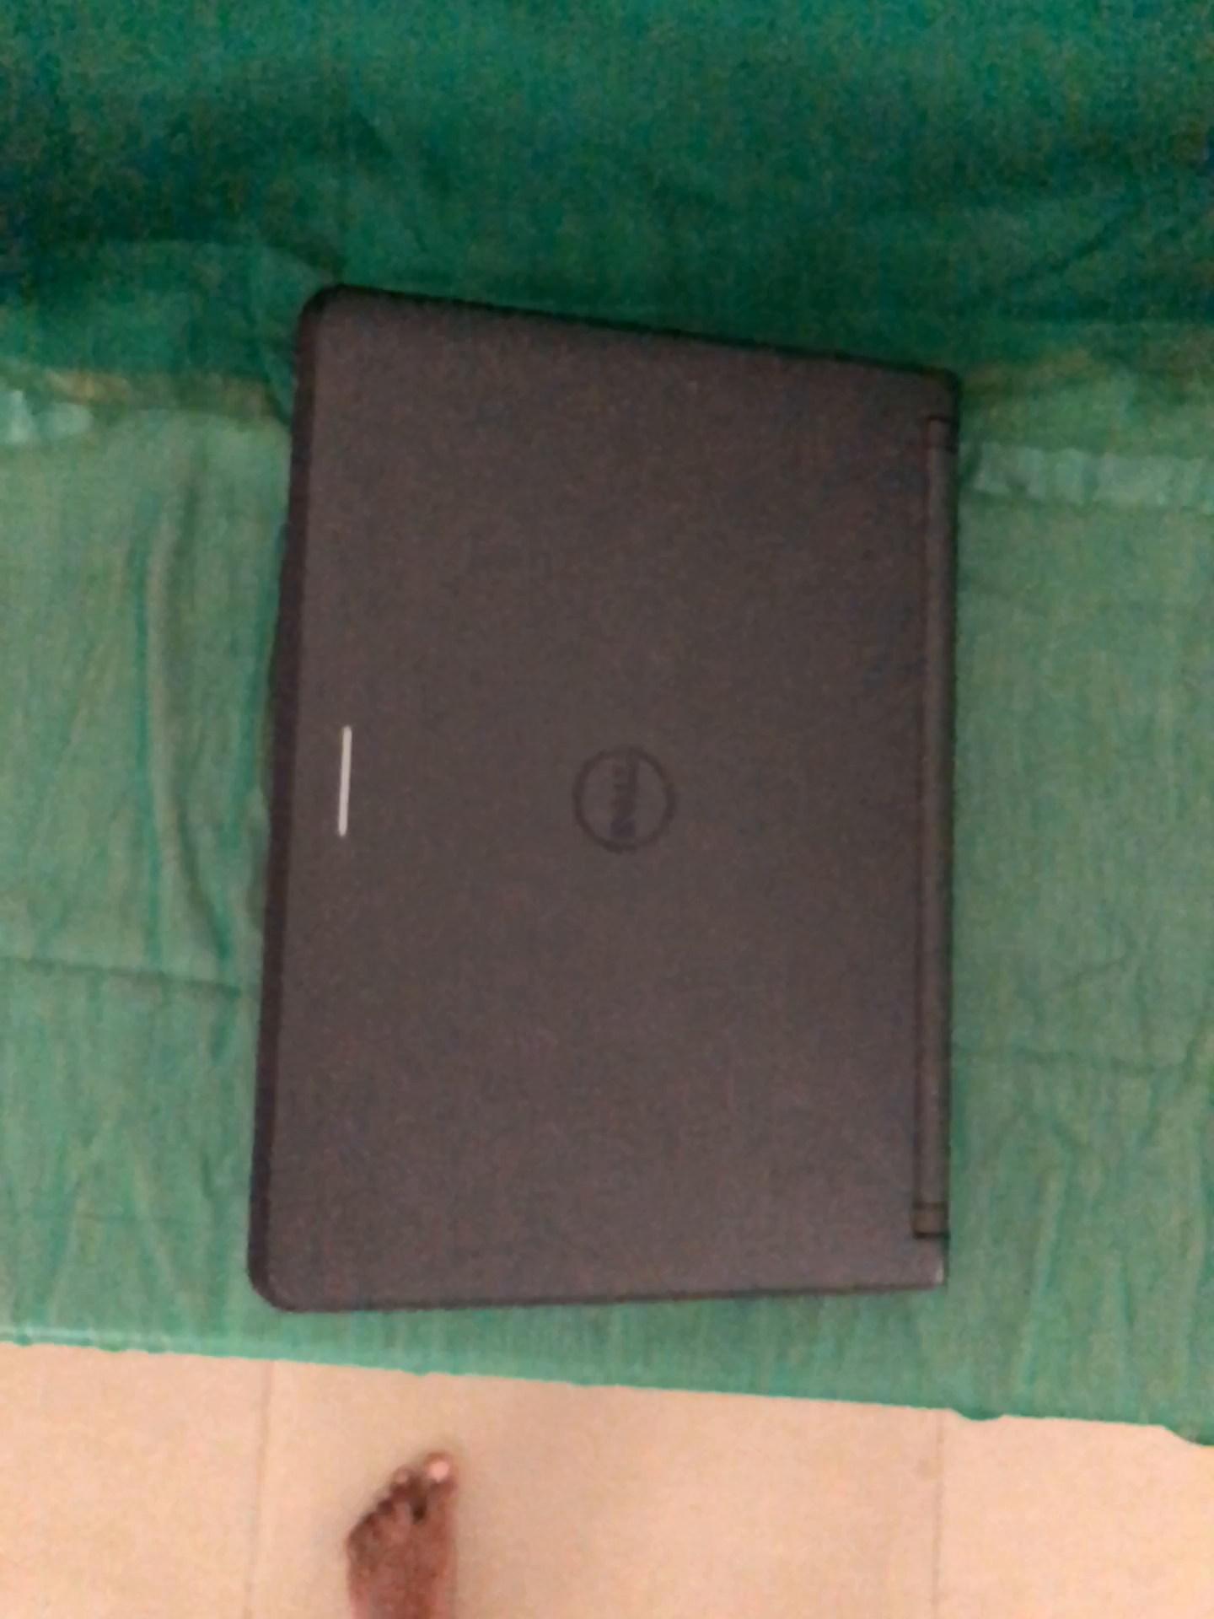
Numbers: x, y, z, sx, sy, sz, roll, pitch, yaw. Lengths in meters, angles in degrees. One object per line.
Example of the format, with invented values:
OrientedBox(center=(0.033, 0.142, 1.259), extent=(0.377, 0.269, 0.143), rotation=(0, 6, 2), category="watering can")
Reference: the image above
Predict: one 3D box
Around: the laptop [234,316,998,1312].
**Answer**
OrientedBox(center=(0.007, -0.001, 0.453), extent=(0.229, 0.065, 0.305), rotation=(2, 84, 0), category="laptop")
